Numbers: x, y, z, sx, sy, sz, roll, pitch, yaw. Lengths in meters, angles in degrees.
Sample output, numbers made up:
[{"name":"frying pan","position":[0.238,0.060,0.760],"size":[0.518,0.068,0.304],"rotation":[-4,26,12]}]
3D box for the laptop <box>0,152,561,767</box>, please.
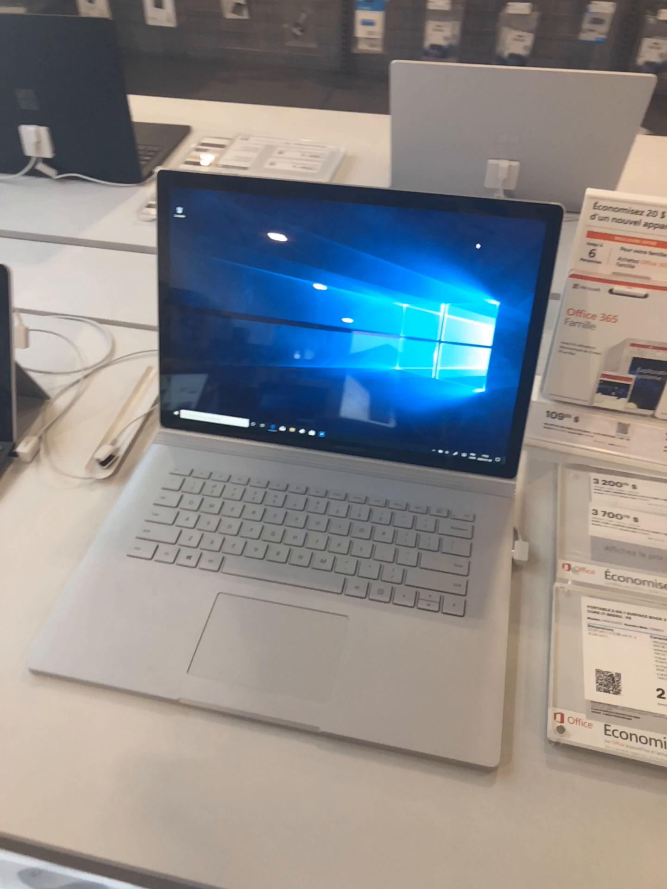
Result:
[{"name":"laptop","position":[-0.022,-0.020,0.563],"size":[0.338,0.207,0.366],"rotation":[9,47,9]}]
